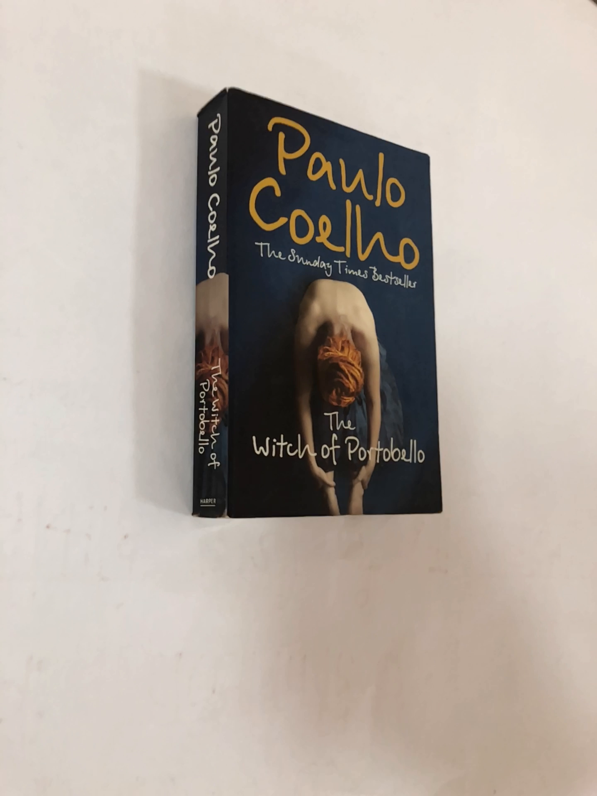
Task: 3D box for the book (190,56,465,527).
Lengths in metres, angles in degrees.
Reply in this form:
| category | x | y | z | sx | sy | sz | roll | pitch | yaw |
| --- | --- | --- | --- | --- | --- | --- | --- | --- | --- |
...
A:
| category | x | y | z | sx | sy | sz | roll | pitch | yaw |
| --- | --- | --- | --- | --- | --- | --- | --- | --- | --- |
| book | 0.015 | -0.038 | 0.292 | 0.120 | 0.030 | 0.180 | 5 | 80 | -33 |
